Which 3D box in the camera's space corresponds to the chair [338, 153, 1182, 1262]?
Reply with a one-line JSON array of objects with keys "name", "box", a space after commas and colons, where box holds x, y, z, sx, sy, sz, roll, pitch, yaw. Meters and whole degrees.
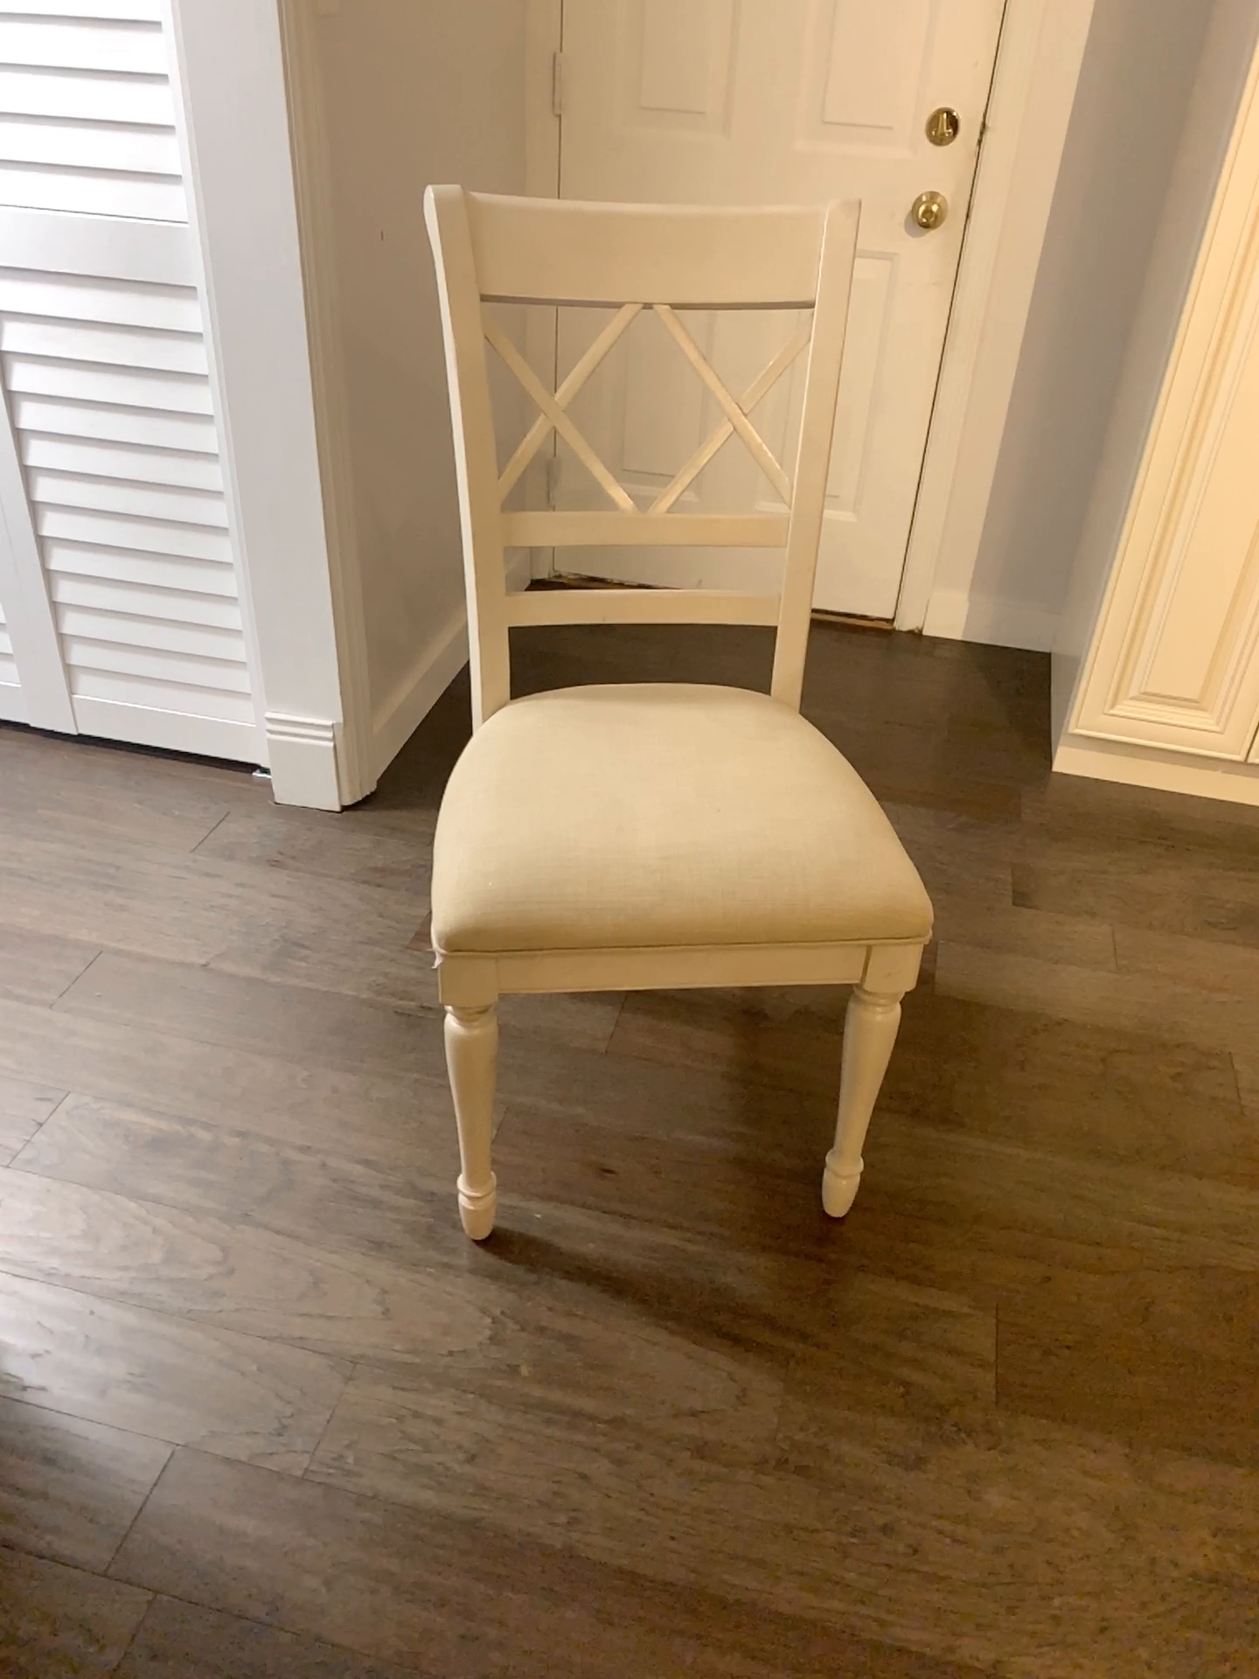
[{"name": "chair", "box": [0.042, -0.138, 1.390, 0.580, 0.994, 0.614, -1, 34, -7]}]
